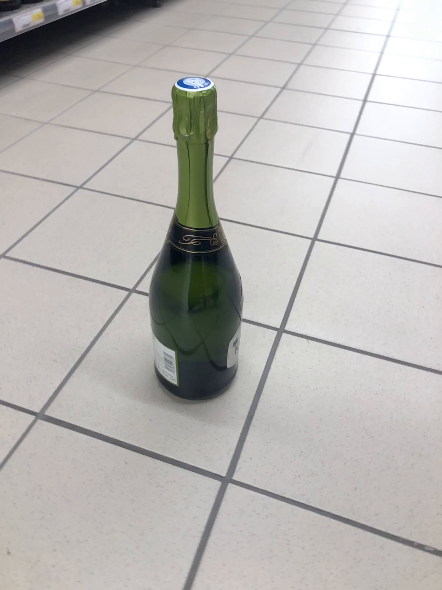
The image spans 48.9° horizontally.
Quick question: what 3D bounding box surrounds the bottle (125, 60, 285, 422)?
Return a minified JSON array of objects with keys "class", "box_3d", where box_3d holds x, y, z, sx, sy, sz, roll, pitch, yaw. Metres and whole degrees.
[{"class":"bottle","box_3d":[-0.020,-0.028,0.434,0.090,0.308,0.100,-8,41,-12]}]
